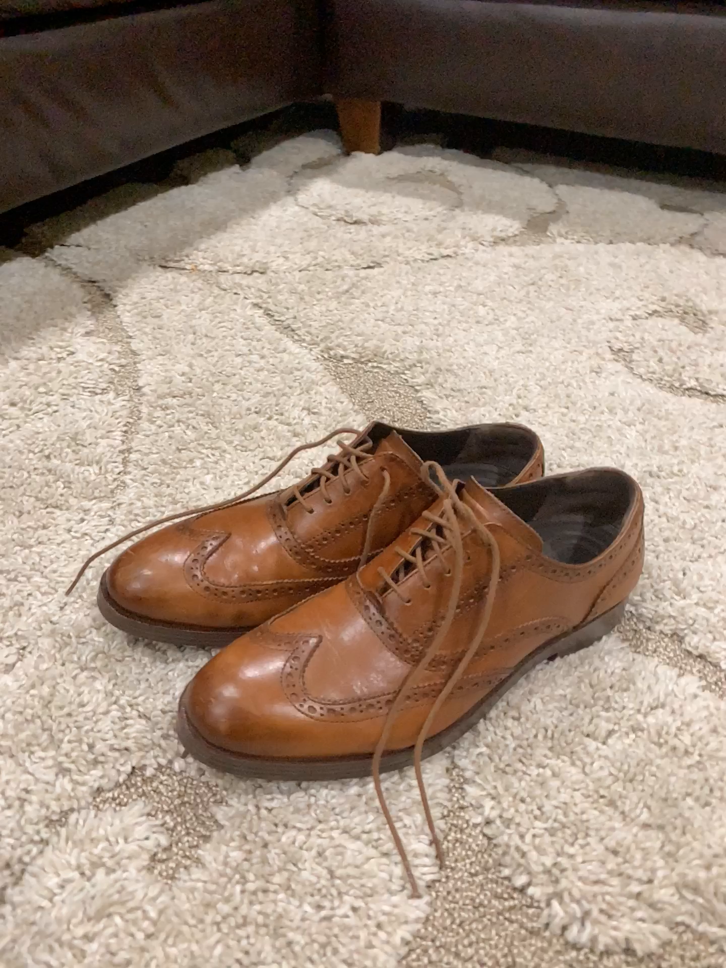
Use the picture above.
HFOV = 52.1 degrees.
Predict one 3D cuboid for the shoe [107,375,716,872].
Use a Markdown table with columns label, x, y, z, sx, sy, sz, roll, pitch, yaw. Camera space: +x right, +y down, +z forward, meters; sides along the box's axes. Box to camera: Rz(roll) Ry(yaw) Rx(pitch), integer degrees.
| label | x | y | z | sx | sy | sz | roll | pitch | yaw |
| --- | --- | --- | --- | --- | --- | --- | --- | --- | --- |
| shoe | 0.031 | 0.058 | 0.398 | 0.281 | 0.131 | 0.105 | -20 | 43 | -23 |

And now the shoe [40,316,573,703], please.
| label | x | y | z | sx | sy | sz | roll | pitch | yaw |
| --- | --- | --- | --- | --- | --- | --- | --- | --- | --- |
| shoe | -0.029 | 0.005 | 0.462 | 0.283 | 0.131 | 0.105 | -16 | 42 | -19 |
